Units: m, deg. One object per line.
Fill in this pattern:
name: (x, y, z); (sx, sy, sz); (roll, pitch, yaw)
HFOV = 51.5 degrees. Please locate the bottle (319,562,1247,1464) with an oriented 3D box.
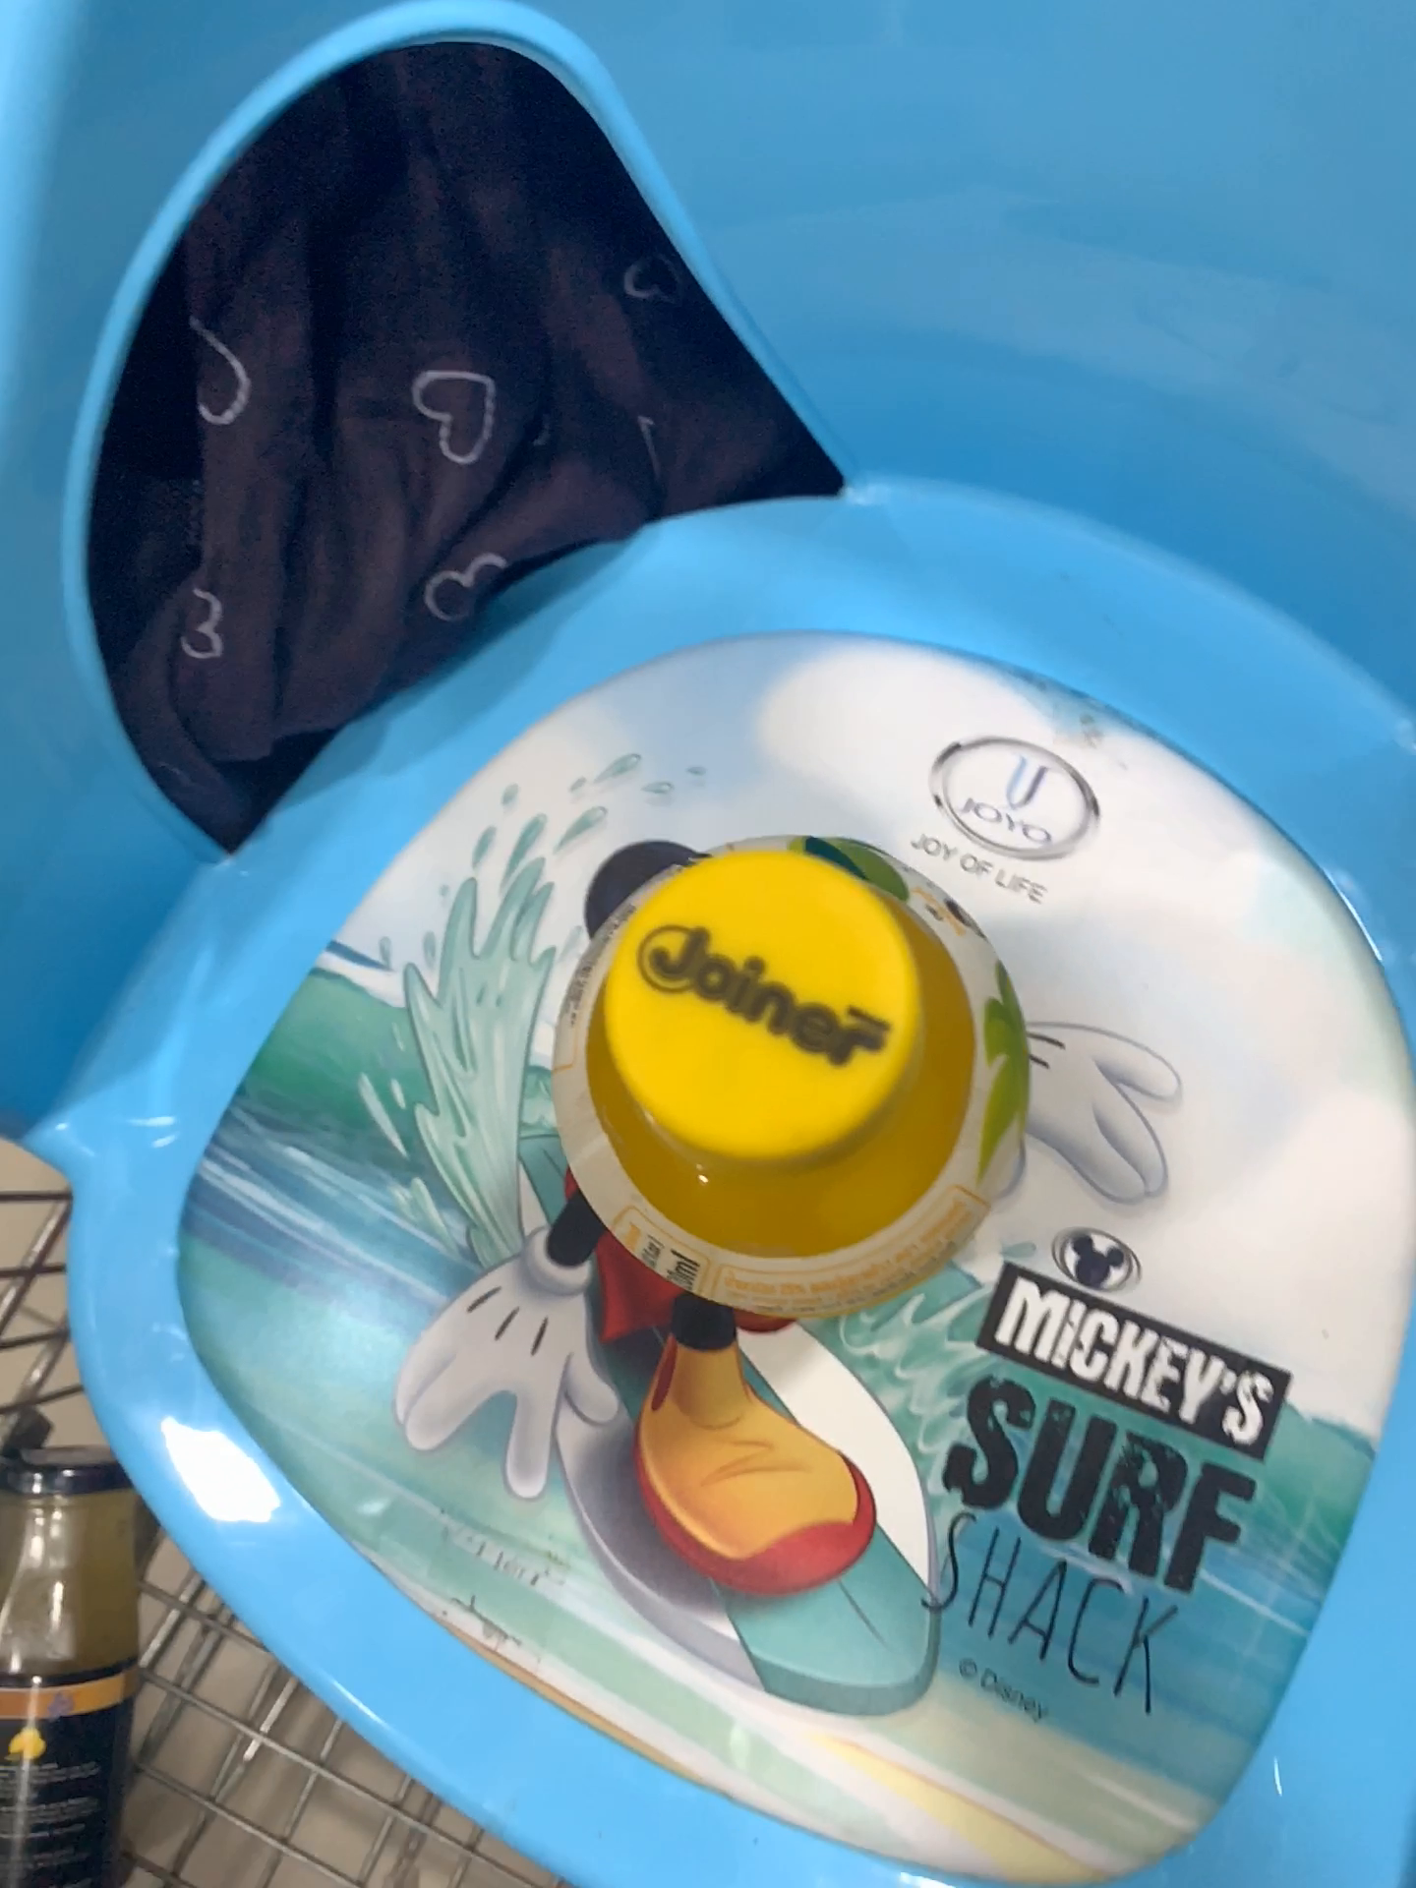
bottle: (0.010, 0.023, 0.196); (0.060, 0.140, 0.060); (-1, 73, 5)
